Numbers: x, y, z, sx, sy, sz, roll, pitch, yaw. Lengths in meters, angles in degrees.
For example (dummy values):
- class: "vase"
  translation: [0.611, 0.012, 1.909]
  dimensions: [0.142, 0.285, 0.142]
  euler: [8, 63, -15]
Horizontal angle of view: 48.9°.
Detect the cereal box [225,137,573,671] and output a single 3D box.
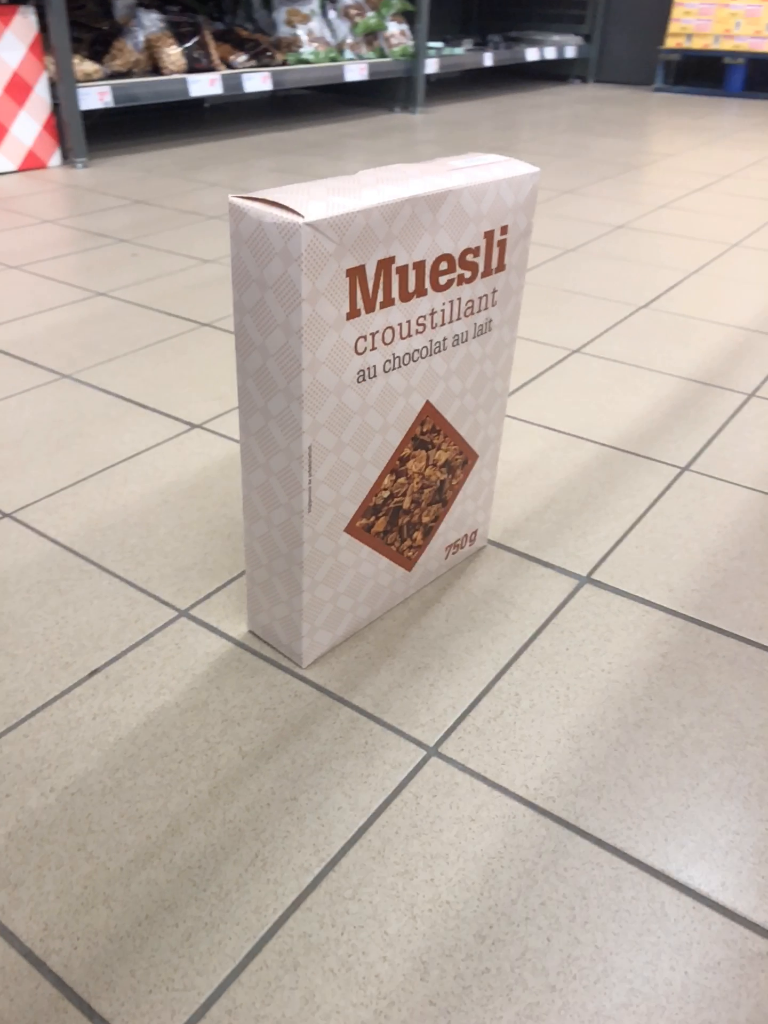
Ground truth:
- class: "cereal box"
  translation: [0.011, -0.068, 0.509]
  dimensions: [0.060, 0.268, 0.201]
  euler: [29, 40, 34]
